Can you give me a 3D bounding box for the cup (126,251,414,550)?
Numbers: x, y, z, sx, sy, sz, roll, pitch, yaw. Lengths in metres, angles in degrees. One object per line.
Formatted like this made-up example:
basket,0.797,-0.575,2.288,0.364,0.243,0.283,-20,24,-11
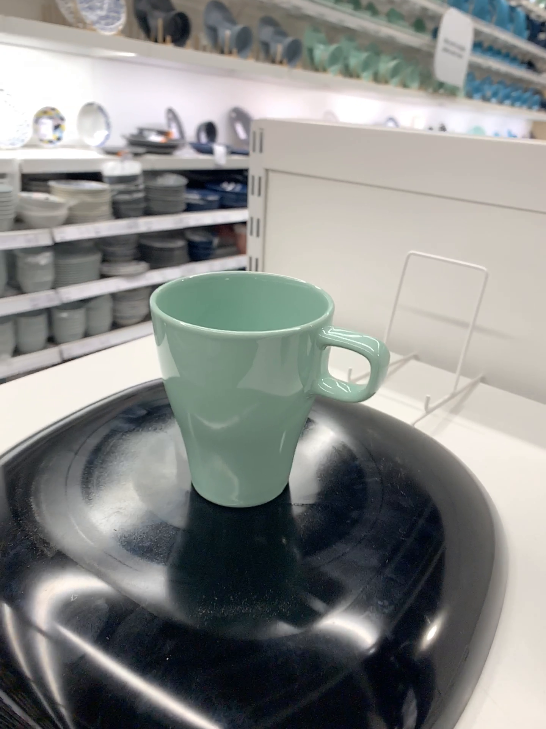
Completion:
cup,0.000,0.009,0.277,0.110,0.100,0.080,12,25,17
